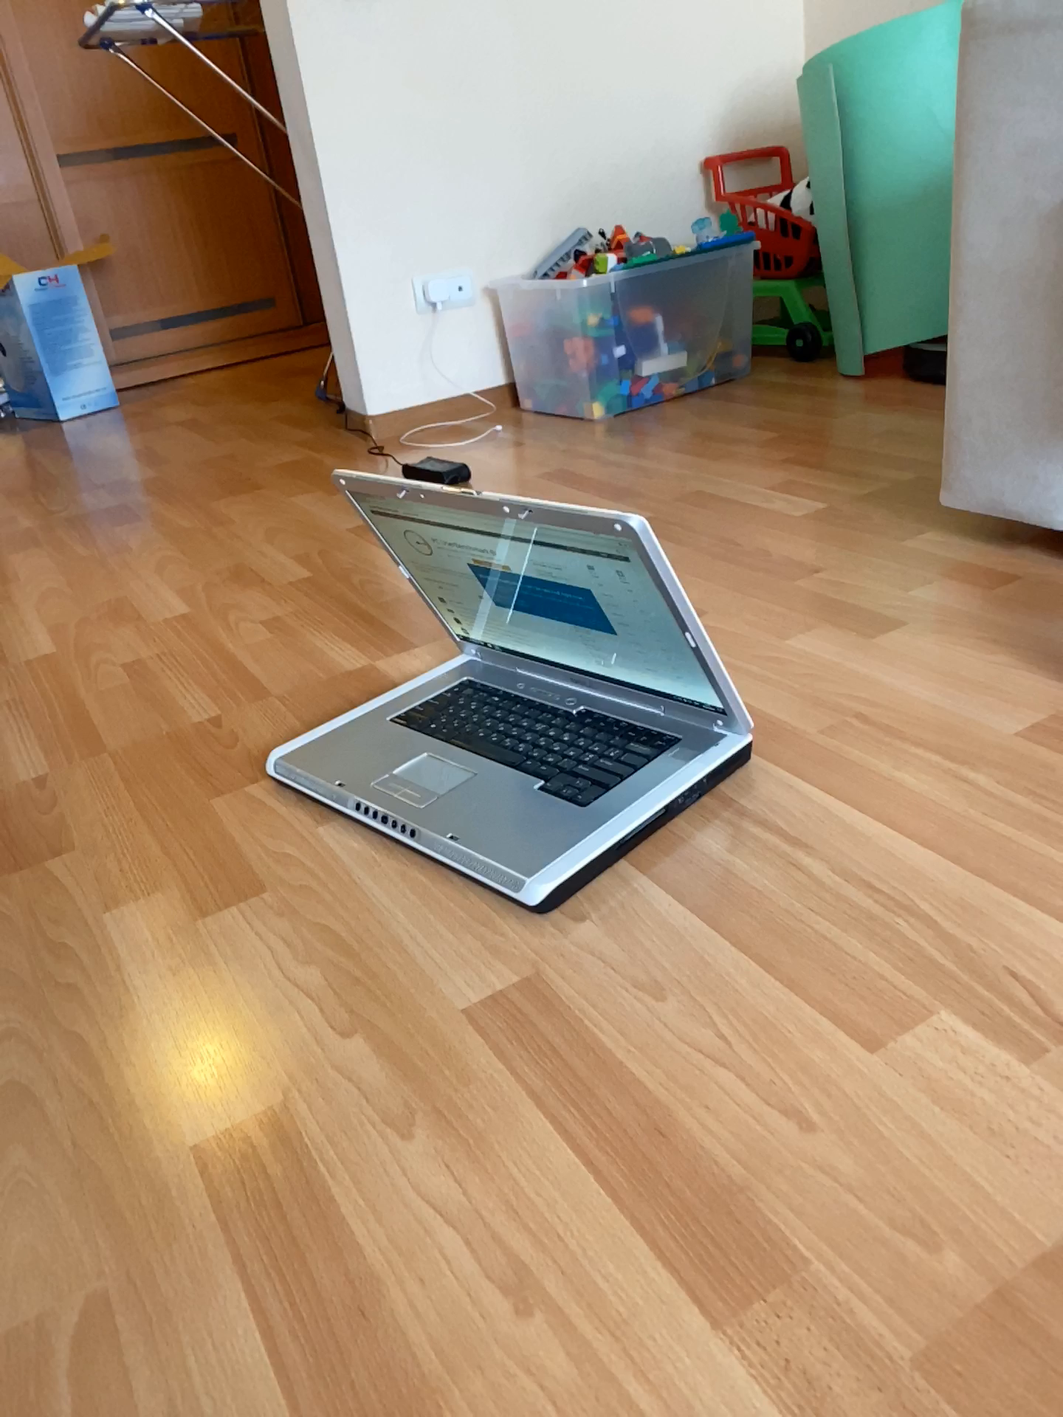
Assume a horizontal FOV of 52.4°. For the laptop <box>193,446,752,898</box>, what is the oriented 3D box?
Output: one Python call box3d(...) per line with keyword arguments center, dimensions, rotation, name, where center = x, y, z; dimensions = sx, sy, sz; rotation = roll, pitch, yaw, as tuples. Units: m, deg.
box3d(center=(-0.052, -0.066, 0.957), dimensions=(0.388, 0.238, 0.274), rotation=(17, 36, 42), name="laptop")
